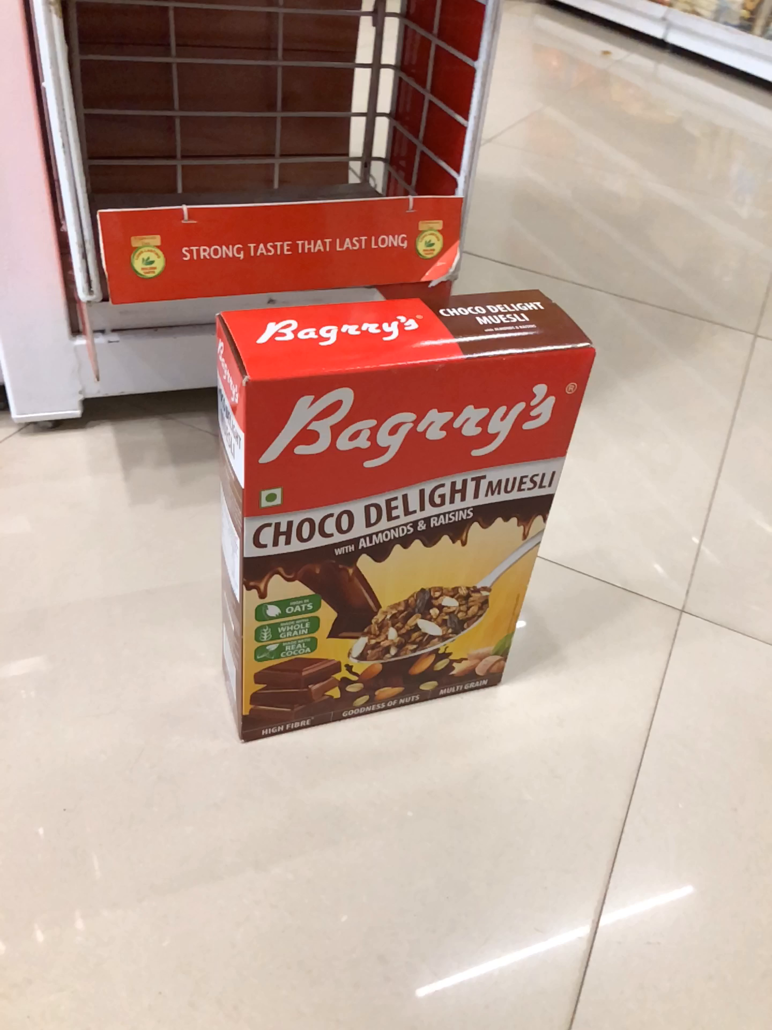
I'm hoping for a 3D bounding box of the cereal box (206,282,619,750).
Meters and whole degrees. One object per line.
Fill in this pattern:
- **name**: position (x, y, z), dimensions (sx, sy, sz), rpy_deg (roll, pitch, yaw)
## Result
- **cereal box**: position (0.002, 0.007, 0.494), dimensions (0.191, 0.258, 0.070), rpy_deg (-8, 41, -19)
